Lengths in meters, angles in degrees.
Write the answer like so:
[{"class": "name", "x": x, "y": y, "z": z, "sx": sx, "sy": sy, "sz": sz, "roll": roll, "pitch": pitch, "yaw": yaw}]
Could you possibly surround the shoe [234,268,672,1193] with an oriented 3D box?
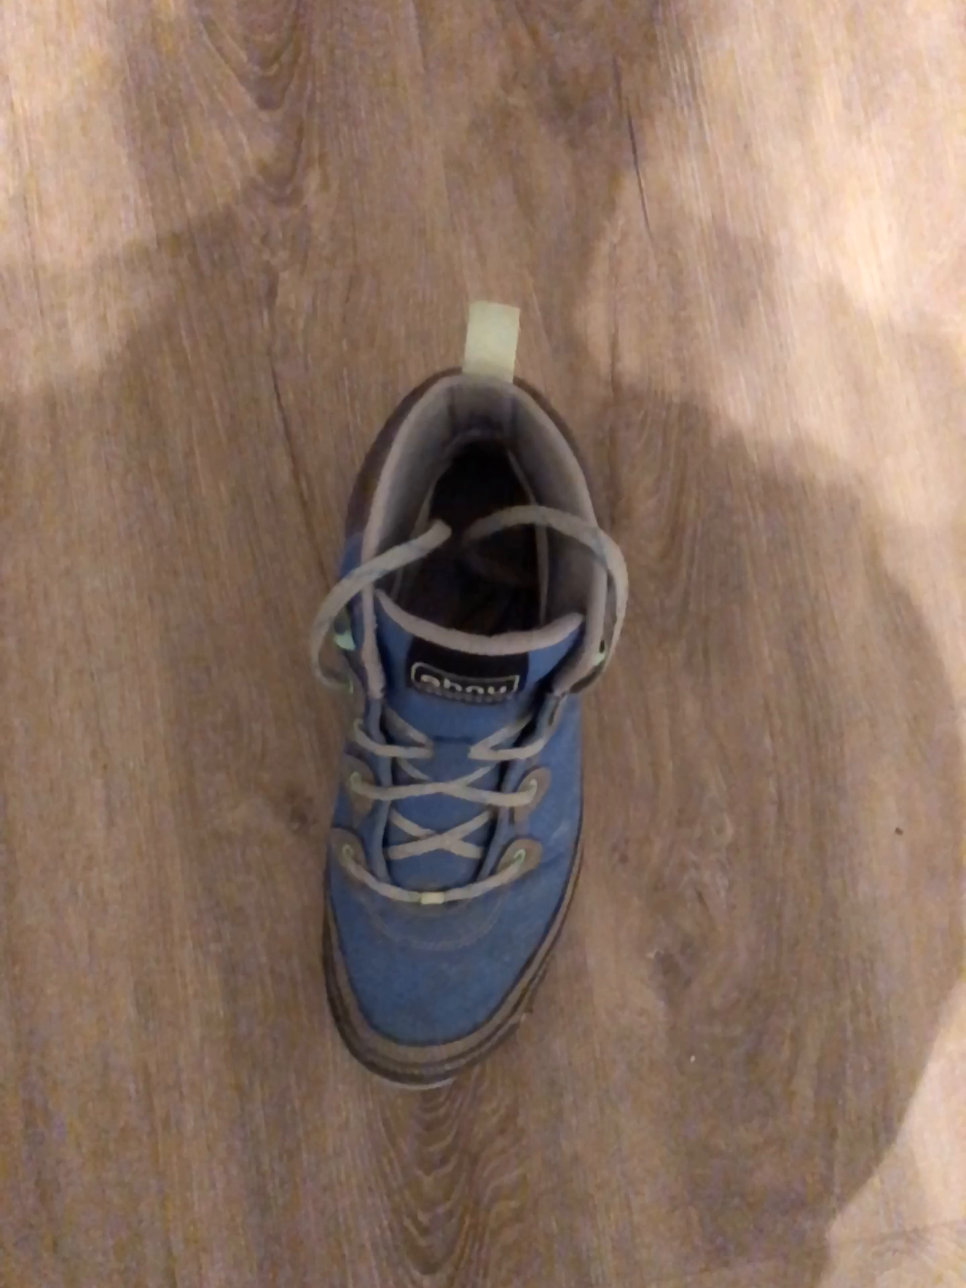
[{"class": "shoe", "x": -0.008, "y": 0.026, "z": 0.369, "sx": 0.100, "sy": 0.140, "sz": 0.250, "roll": 5, "pitch": 84, "yaw": -1}]
